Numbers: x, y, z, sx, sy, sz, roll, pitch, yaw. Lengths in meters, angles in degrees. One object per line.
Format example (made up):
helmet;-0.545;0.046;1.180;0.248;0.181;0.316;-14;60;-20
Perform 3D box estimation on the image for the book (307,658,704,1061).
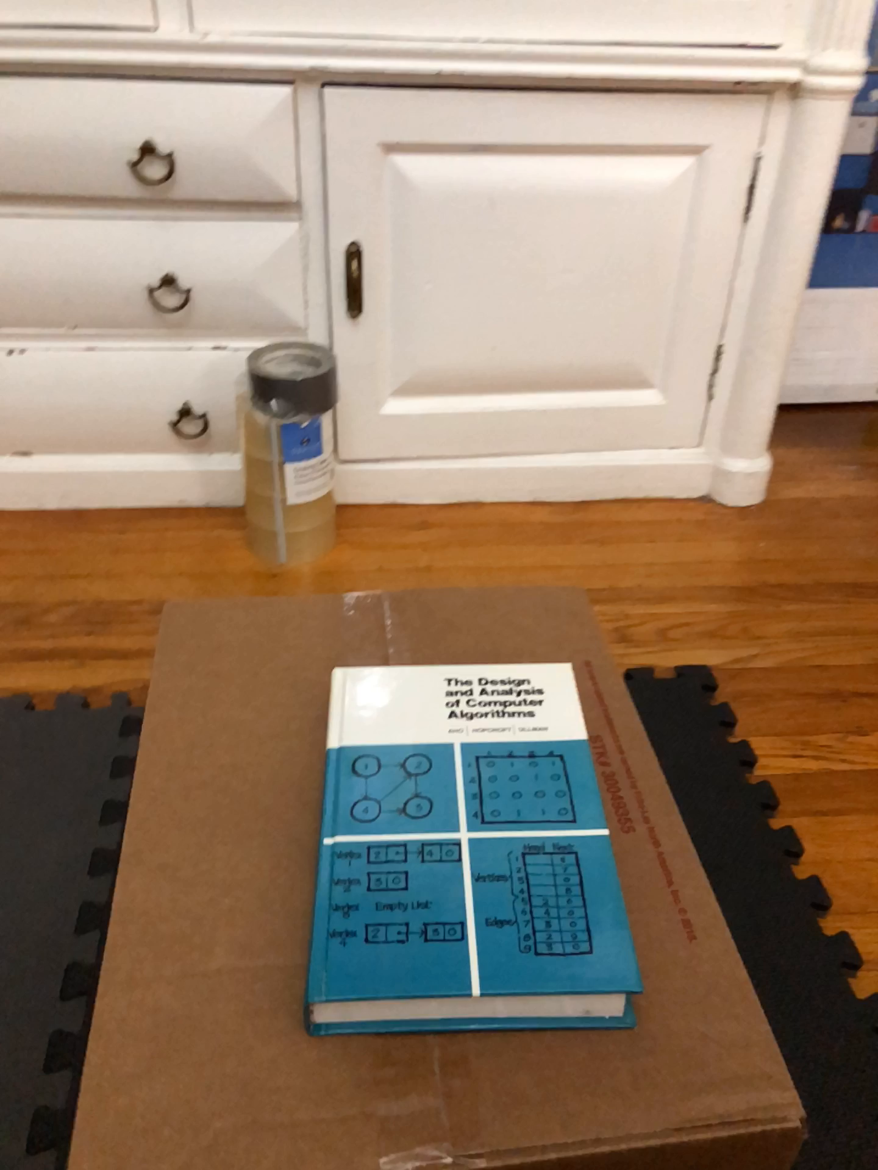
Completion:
book;0.028;0.144;0.578;0.190;0.040;0.262;0;36;-2
